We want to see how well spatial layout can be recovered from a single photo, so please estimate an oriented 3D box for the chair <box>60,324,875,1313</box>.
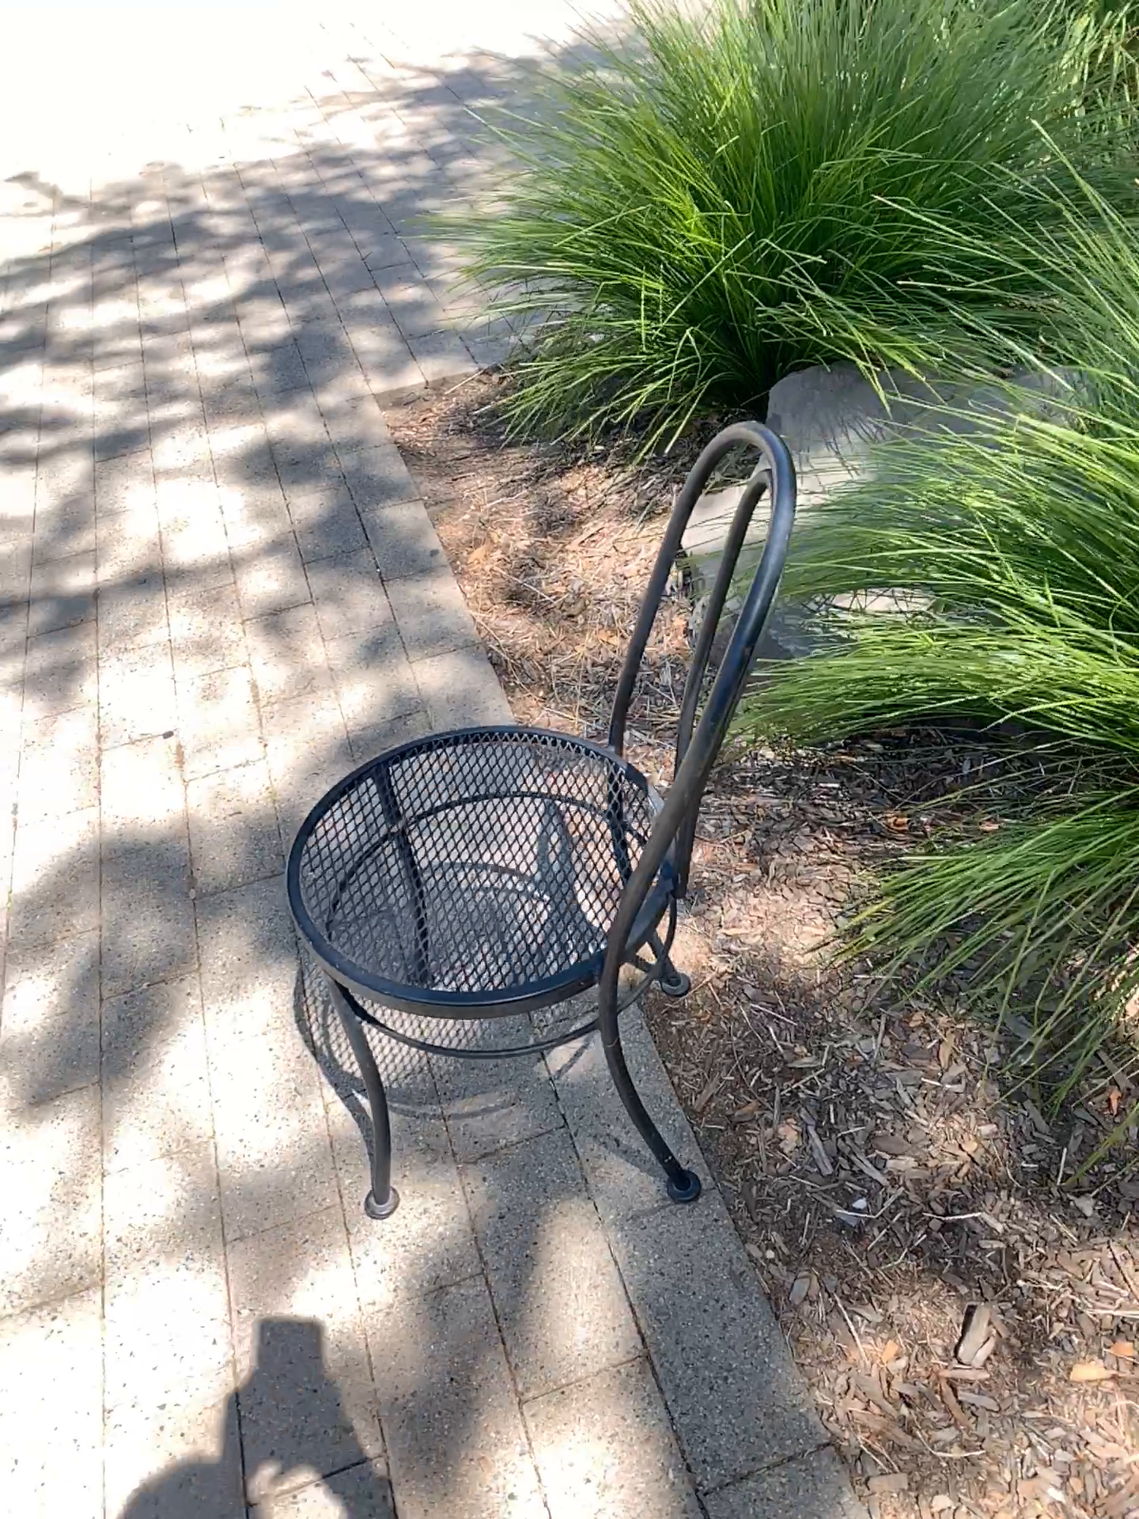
[{"bbox_3d":[-0.010,0.143,1.256,0.531,0.997,0.461,-2,43,7],"label":"chair"}]
